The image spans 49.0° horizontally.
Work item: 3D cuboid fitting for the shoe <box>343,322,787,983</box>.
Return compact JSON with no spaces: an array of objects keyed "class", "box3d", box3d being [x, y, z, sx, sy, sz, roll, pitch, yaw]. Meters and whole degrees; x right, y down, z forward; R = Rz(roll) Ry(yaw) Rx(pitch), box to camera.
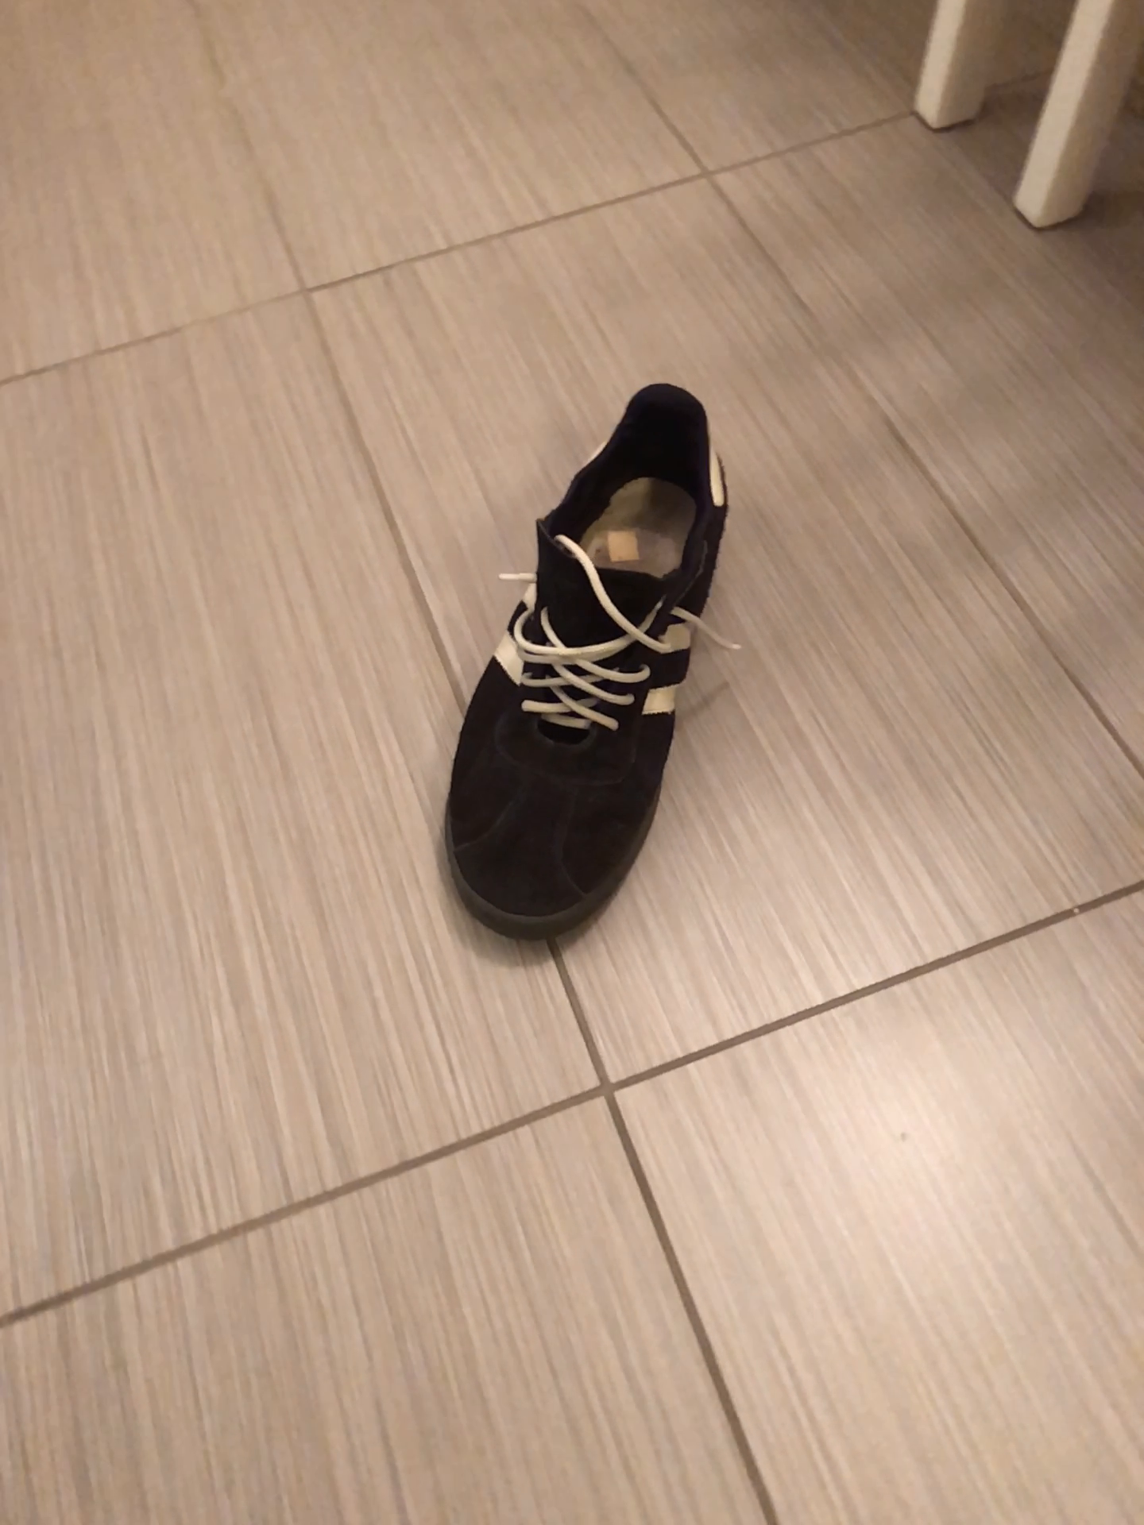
[{"class":"shoe","box3d":[0.013,-0.067,0.633,0.110,0.120,0.311,14,59,14]}]
